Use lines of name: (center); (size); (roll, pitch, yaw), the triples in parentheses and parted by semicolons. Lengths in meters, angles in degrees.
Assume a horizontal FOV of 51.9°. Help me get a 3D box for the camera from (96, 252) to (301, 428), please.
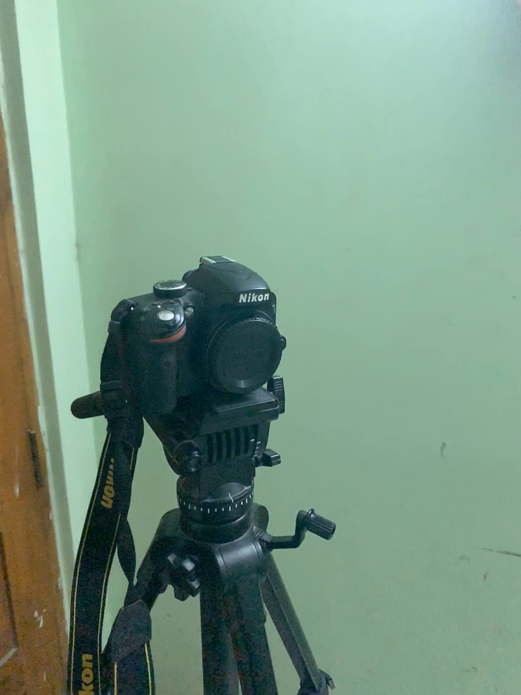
camera: (-0.045, -0.014, 0.389); (0.118, 0.096, 0.086); (-10, 18, -31)
